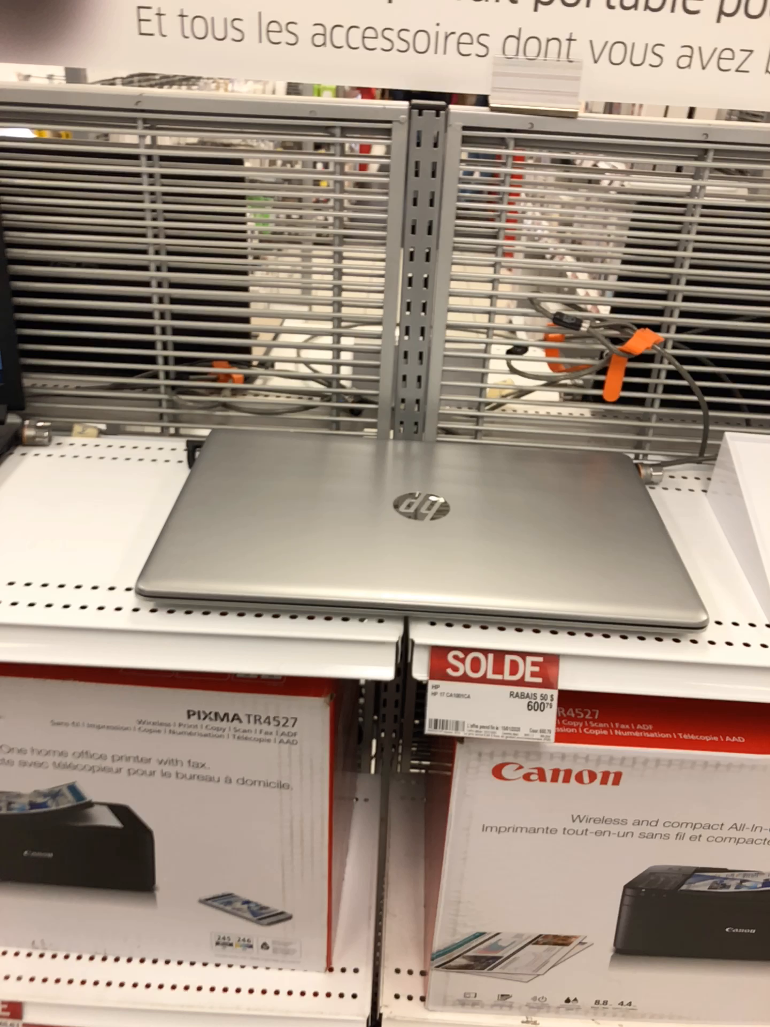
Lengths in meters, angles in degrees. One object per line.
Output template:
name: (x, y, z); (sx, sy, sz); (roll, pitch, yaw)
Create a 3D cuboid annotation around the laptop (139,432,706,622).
laptop: (0.031, -0.002, 0.747); (0.416, 0.002, 0.278); (3, 30, 1)
